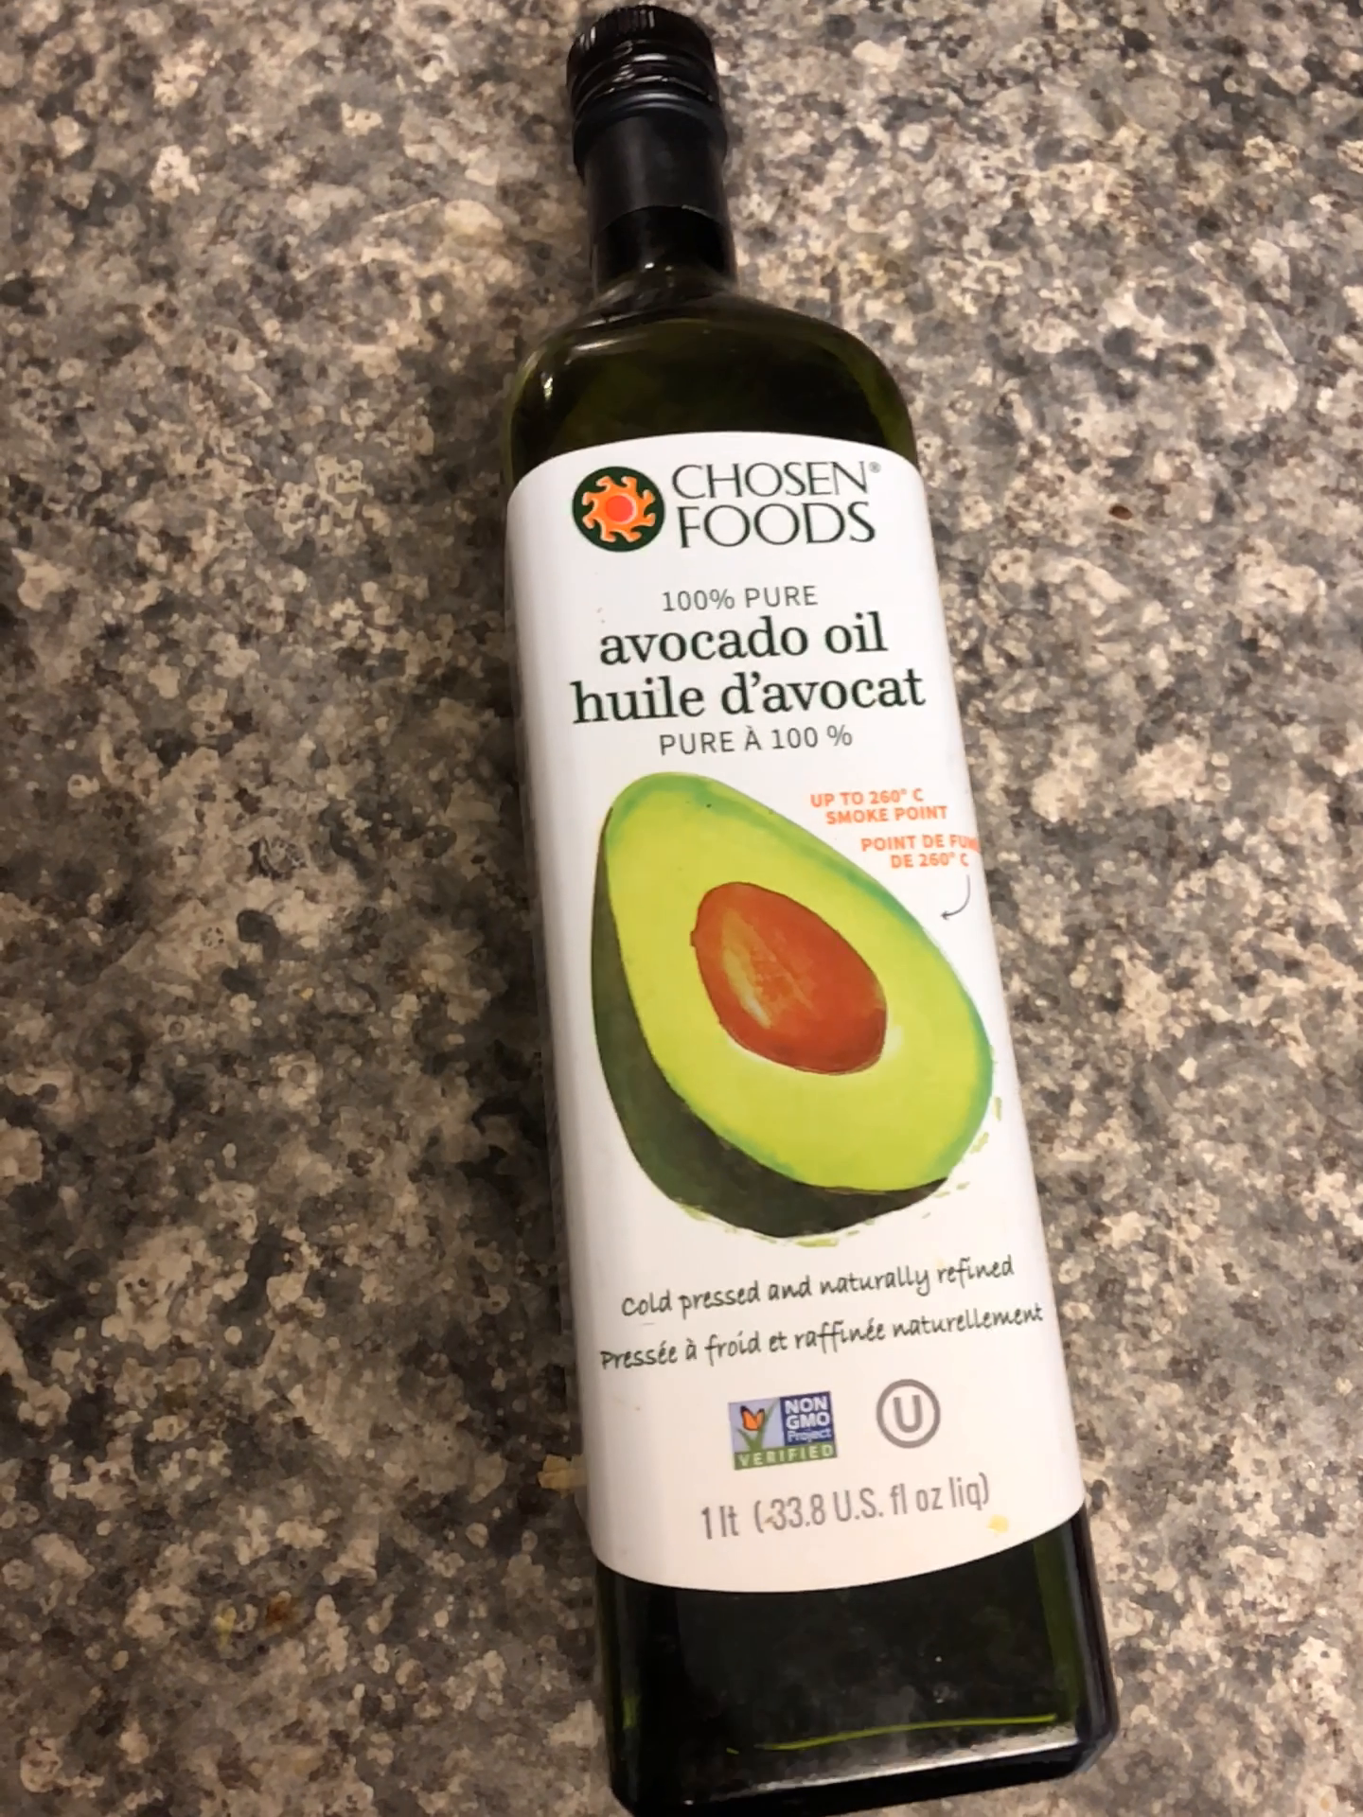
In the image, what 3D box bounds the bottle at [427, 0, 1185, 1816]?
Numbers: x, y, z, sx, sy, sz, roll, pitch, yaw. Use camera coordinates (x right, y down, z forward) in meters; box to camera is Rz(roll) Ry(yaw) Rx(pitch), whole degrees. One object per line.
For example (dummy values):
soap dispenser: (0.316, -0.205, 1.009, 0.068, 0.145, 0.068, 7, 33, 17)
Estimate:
bottle: (0.008, -0.026, 0.265, 0.080, 0.070, 0.320, -4, 77, -7)
